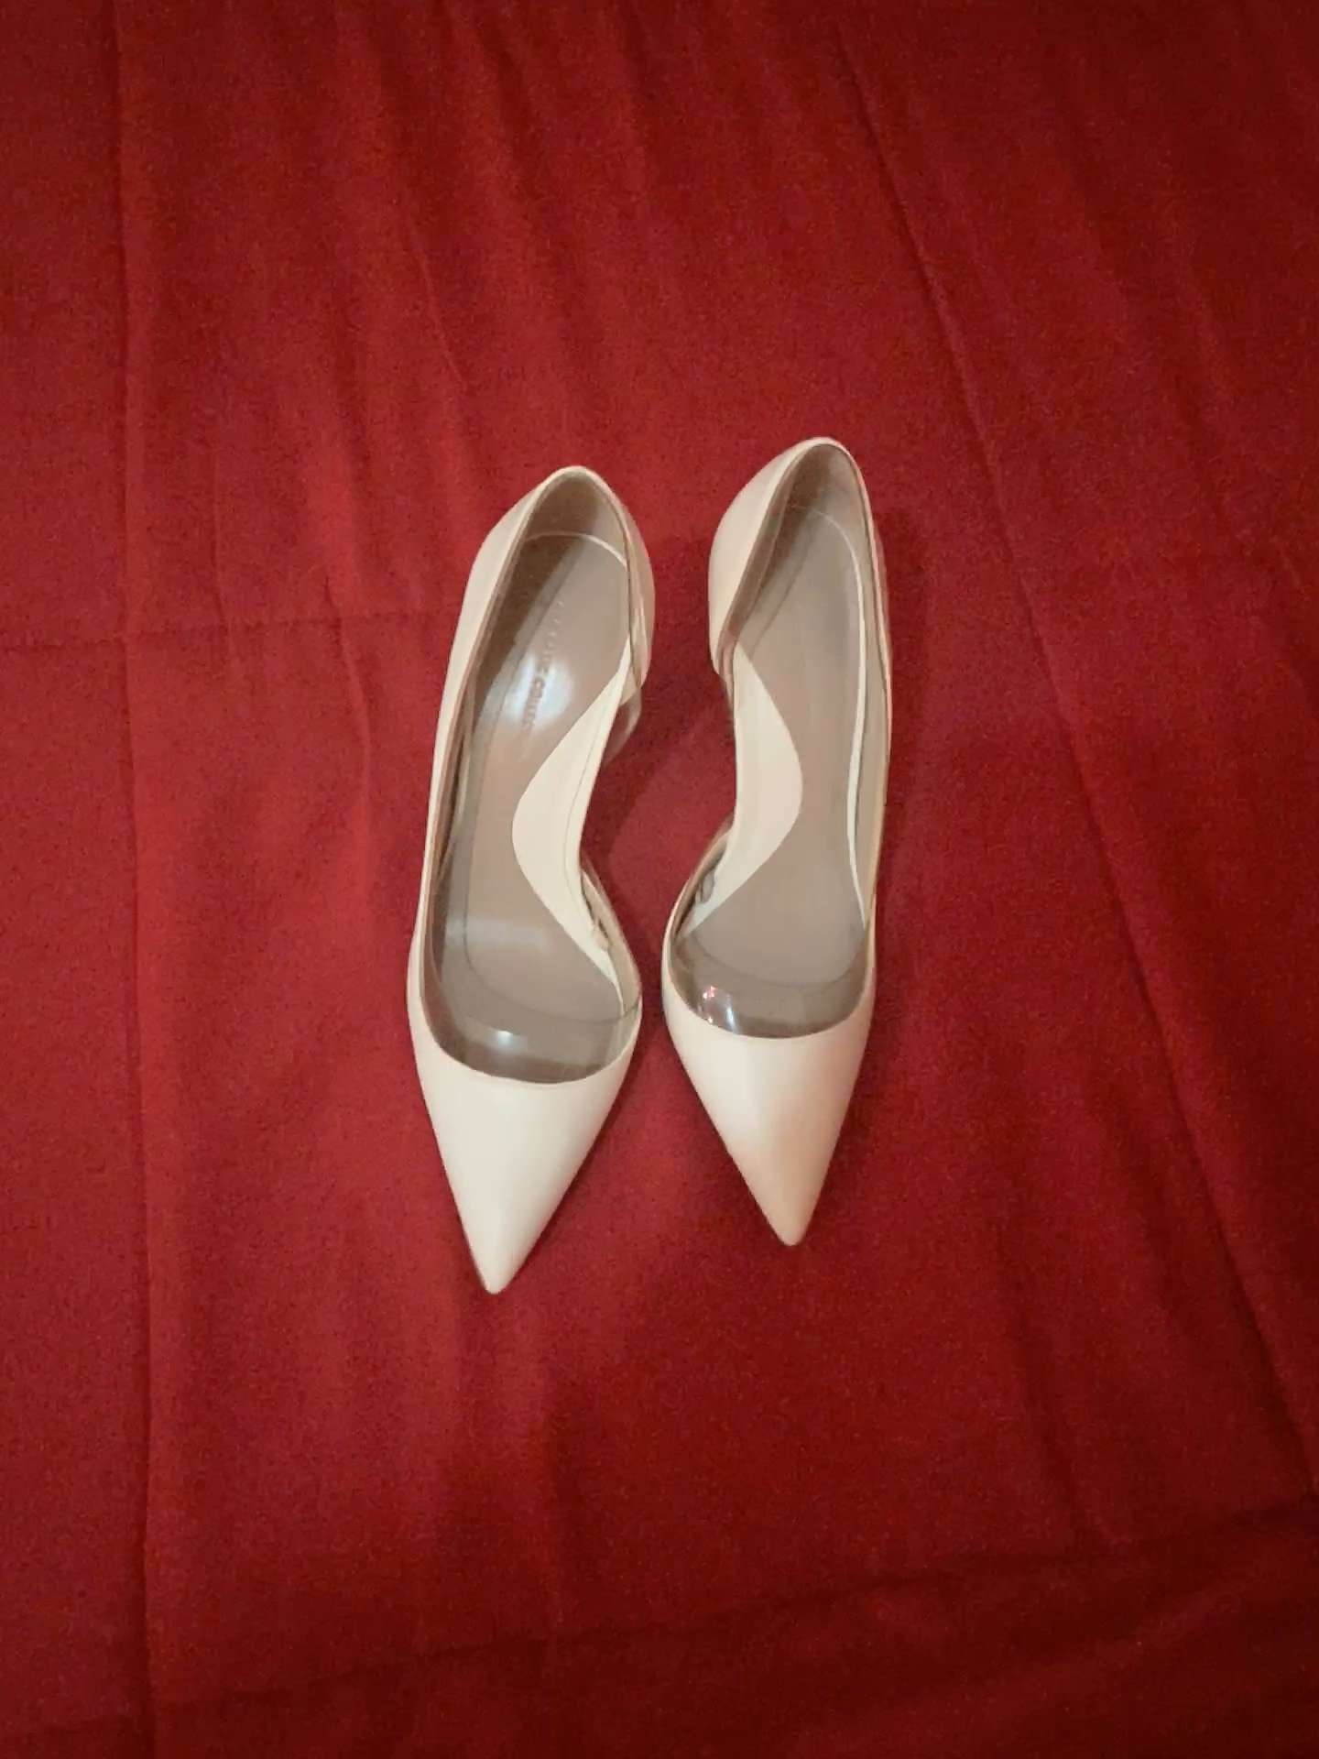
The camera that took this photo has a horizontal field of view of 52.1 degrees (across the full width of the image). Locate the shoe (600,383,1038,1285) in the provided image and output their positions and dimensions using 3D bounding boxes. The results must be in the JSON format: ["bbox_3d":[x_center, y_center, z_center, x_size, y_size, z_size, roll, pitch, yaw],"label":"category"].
[{"bbox_3d":[0.040,-0.008,0.424,0.097,0.140,0.241,4,66,-3],"label":"shoe"}]

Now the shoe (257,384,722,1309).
[{"bbox_3d":[-0.040,-0.005,0.414,0.097,0.136,0.243,4,66,-3],"label":"shoe"}]
